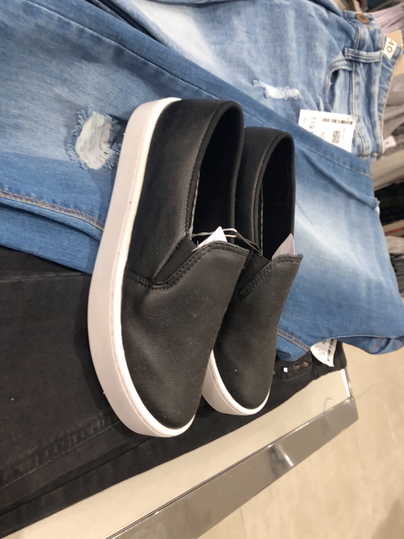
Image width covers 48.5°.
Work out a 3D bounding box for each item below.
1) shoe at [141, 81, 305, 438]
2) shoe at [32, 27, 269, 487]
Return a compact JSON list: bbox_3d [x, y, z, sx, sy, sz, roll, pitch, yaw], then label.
[{"bbox_3d":[0.021,-0.008,0.400,0.111,0.099,0.260,-1,91,-51],"label":"shoe"},{"bbox_3d":[-0.032,-0.007,0.325,0.111,0.099,0.260,11,82,-49],"label":"shoe"}]
